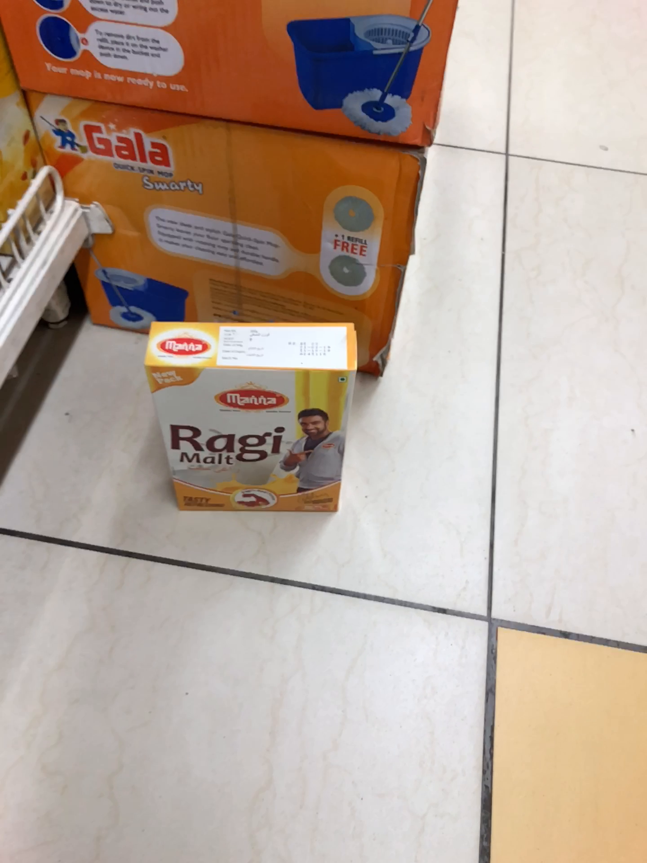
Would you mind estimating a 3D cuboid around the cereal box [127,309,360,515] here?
[{"bbox_3d":[-0.052,-0.005,0.520,0.140,0.179,0.050,1,55,-3],"label":"cereal box"}]
